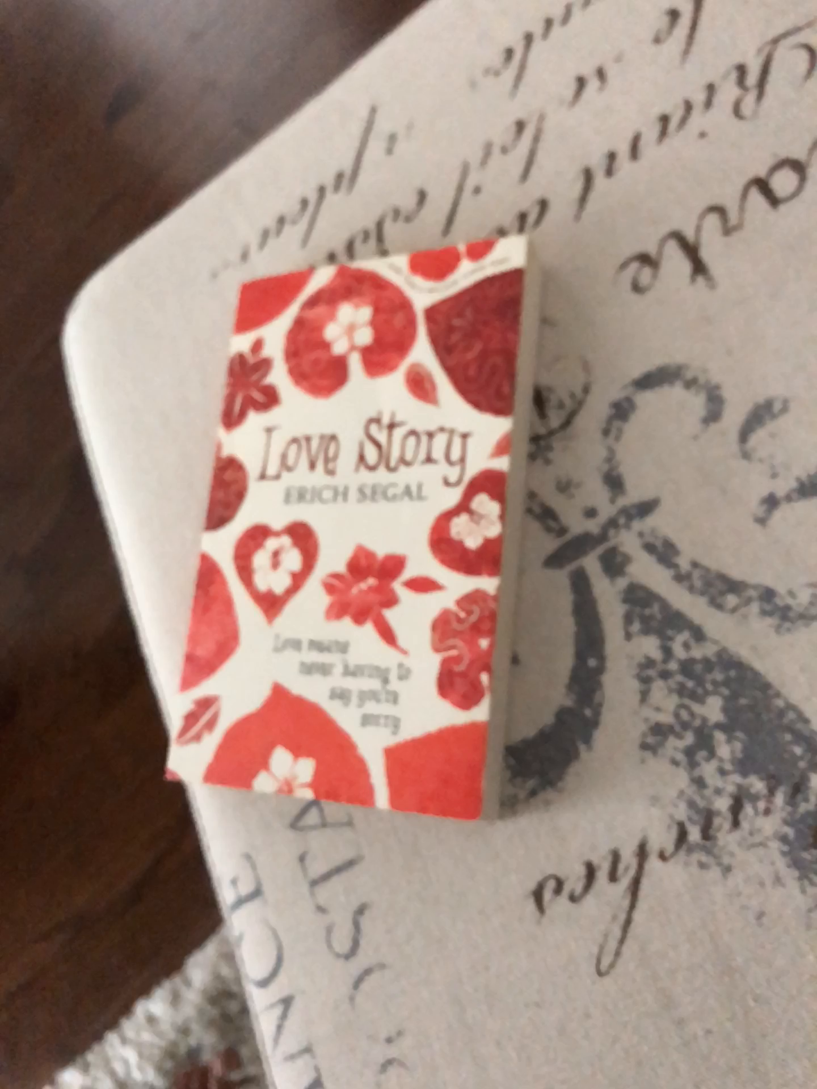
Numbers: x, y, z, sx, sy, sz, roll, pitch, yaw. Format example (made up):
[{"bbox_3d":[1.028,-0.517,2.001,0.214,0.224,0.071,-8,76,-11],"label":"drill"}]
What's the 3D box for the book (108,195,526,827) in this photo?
[{"bbox_3d":[-0.029,-0.014,0.300,0.120,0.020,0.188,-1,75,25],"label":"book"}]
